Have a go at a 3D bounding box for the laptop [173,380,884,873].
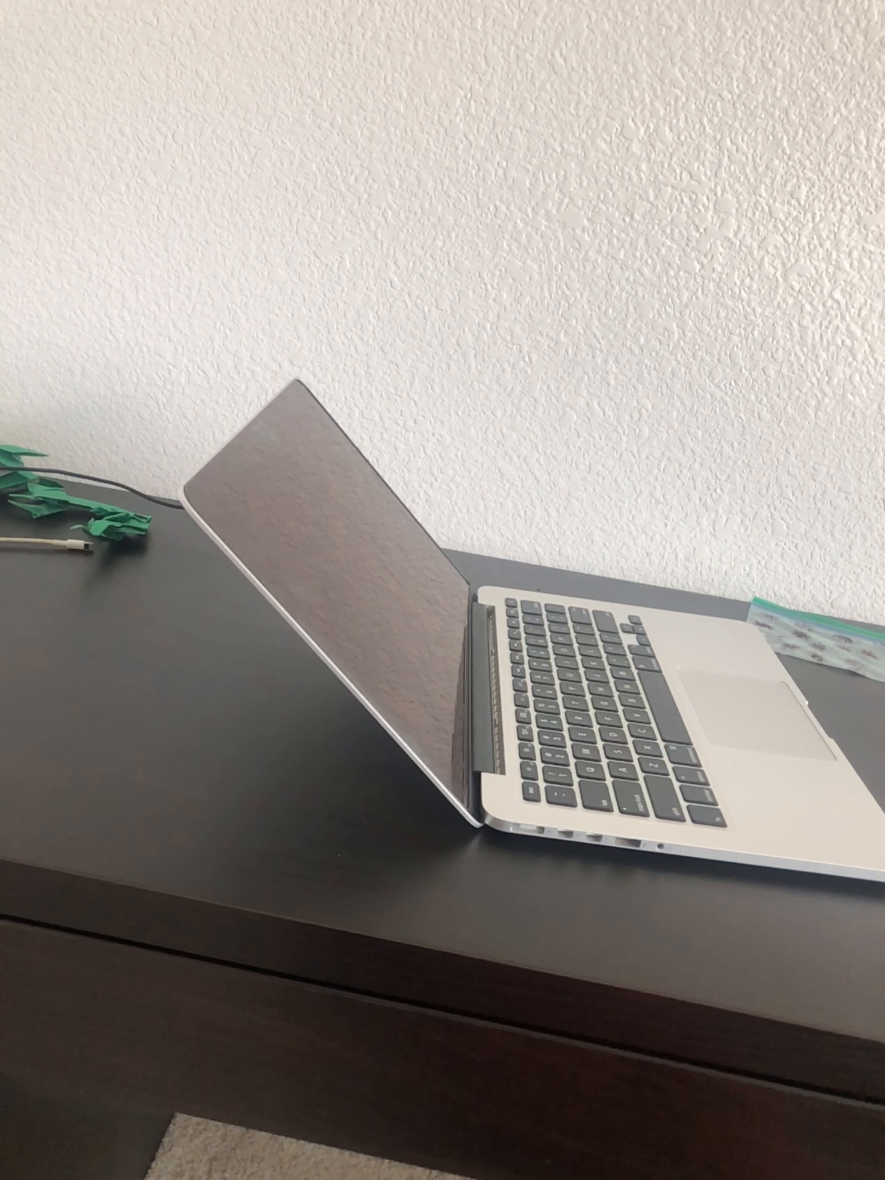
[{"bbox_3d":[0.064,-0.008,0.589,0.362,0.133,0.310,8,21,-1],"label":"laptop"}]
